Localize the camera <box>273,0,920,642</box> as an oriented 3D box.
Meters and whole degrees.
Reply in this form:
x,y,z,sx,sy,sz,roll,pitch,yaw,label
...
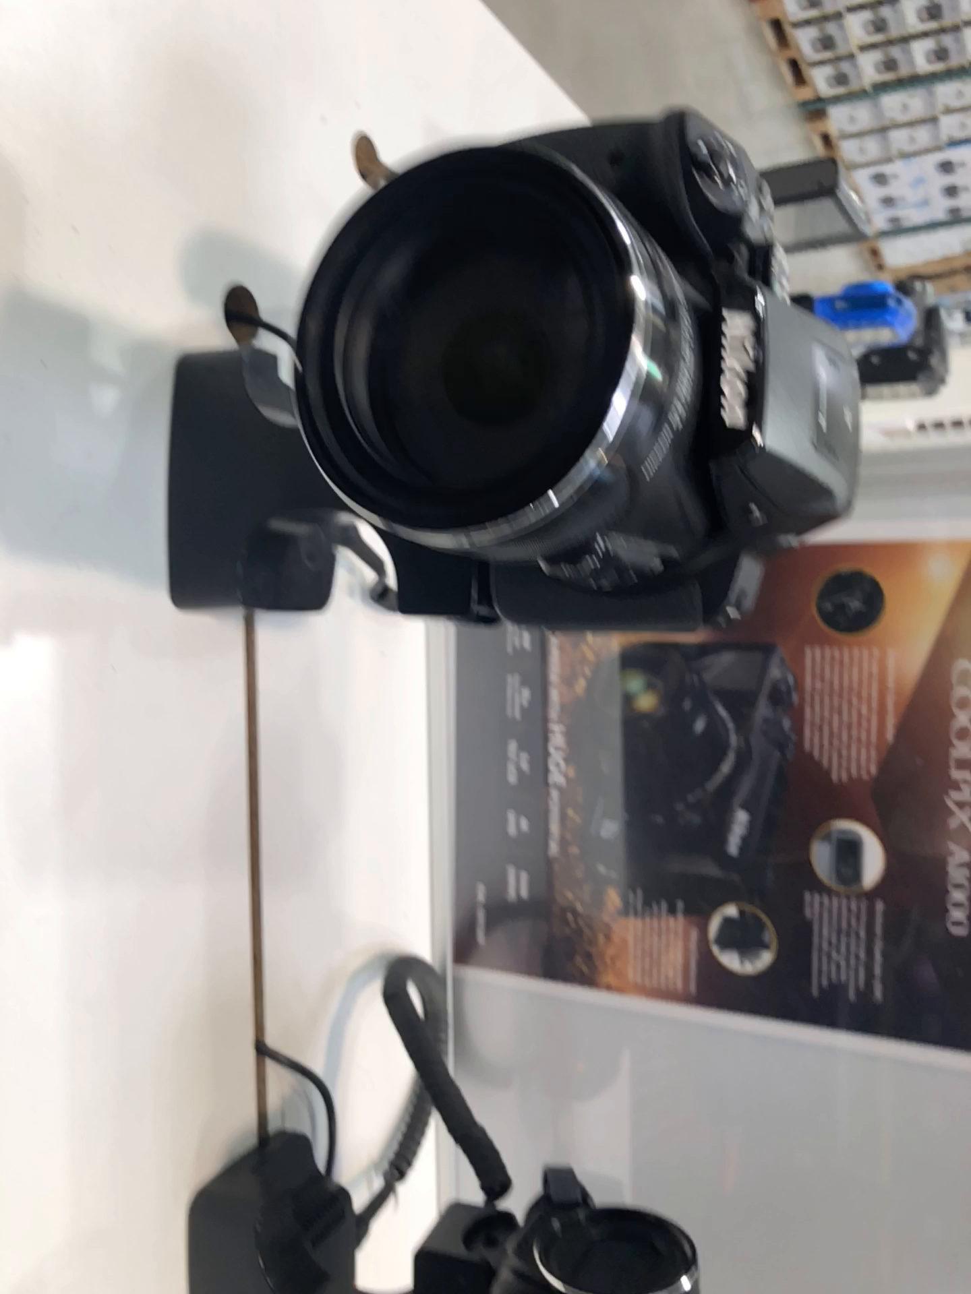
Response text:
x,y,z,sx,sy,sz,roll,pitch,yaw,label
0.041,-0.073,0.264,0.151,0.109,0.140,2,88,-64,camera
